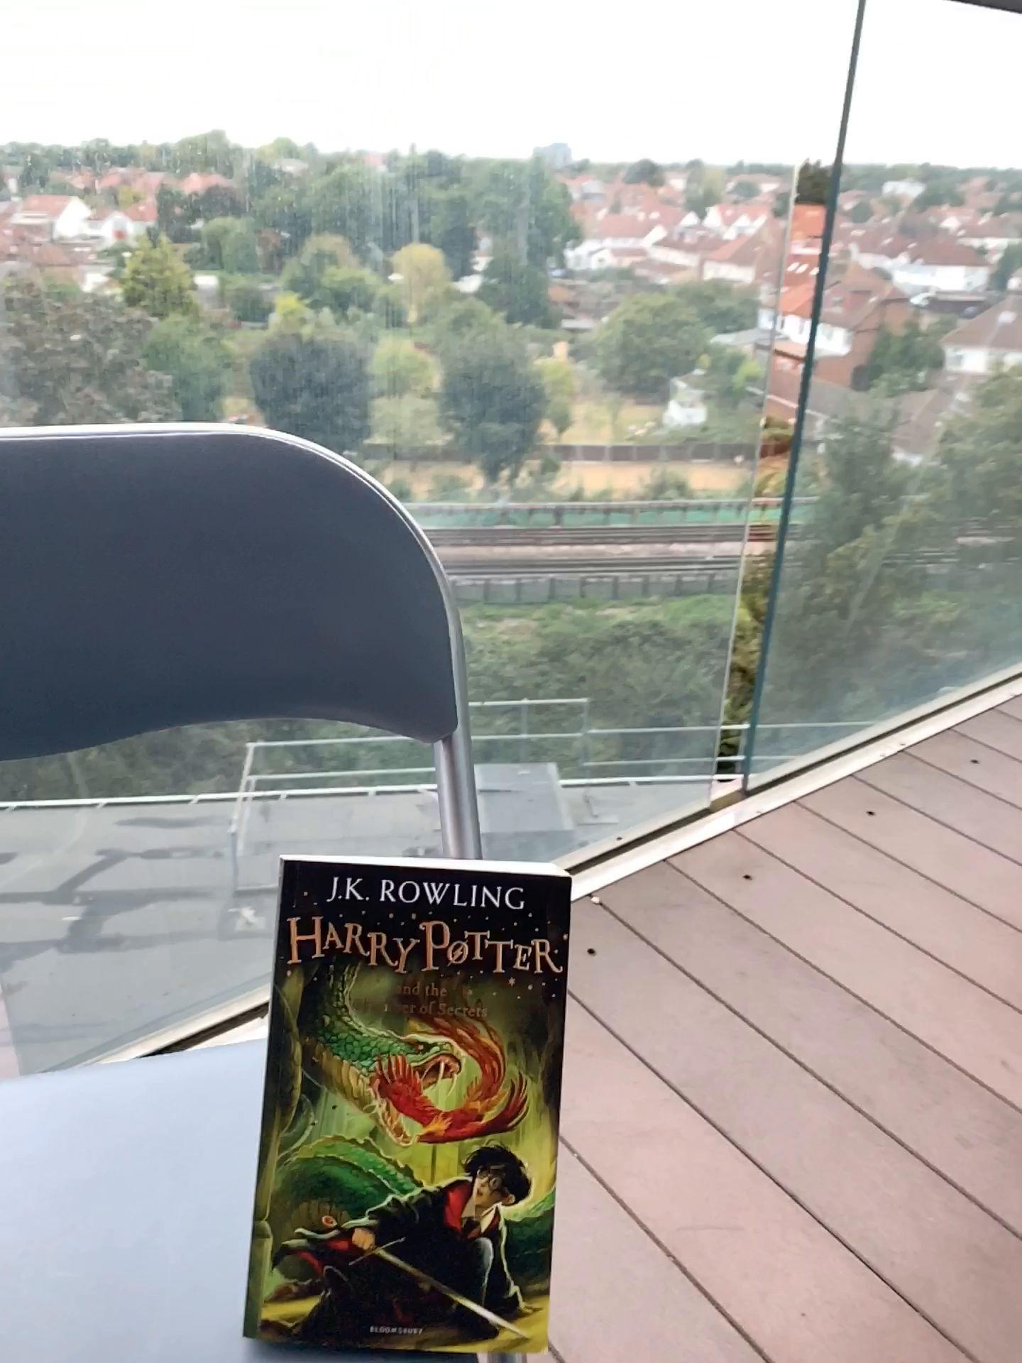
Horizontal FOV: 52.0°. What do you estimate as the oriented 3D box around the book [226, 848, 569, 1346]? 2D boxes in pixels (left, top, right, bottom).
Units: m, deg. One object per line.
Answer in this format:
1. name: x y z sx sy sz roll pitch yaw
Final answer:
1. book: -0.047 0.179 0.468 0.140 0.200 0.040 1 -4 0
